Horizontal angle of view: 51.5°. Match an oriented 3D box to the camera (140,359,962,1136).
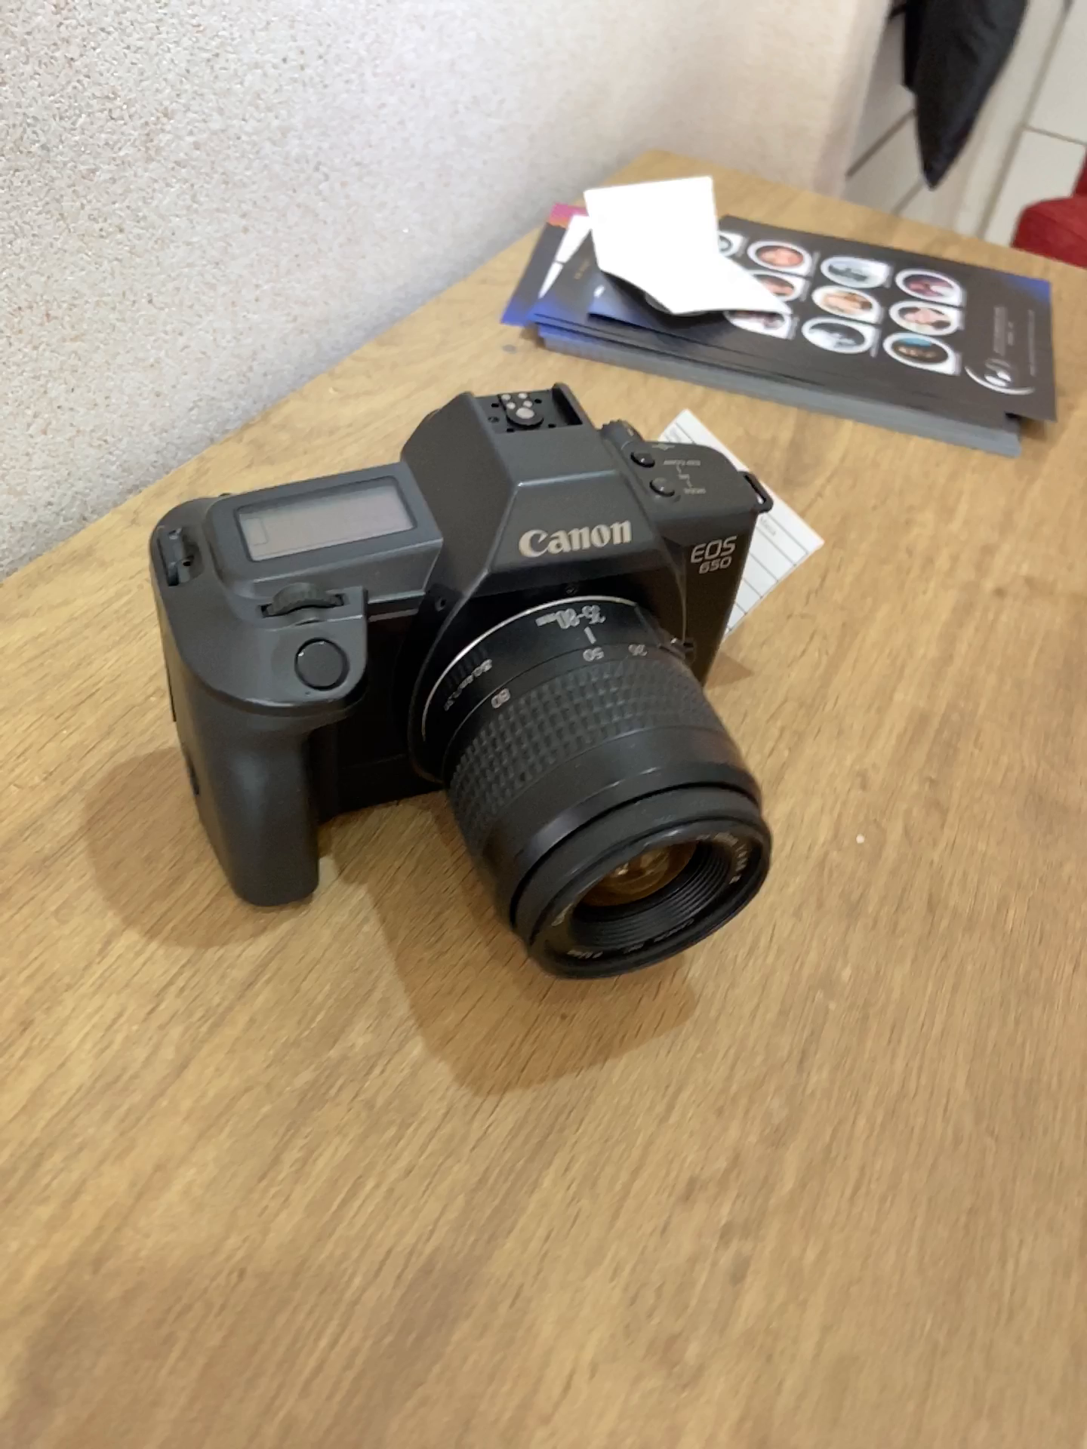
[{"bbox_3d":[-0.010,-0.005,0.288,0.140,0.099,0.141,-14,48,-20],"label":"camera"}]
